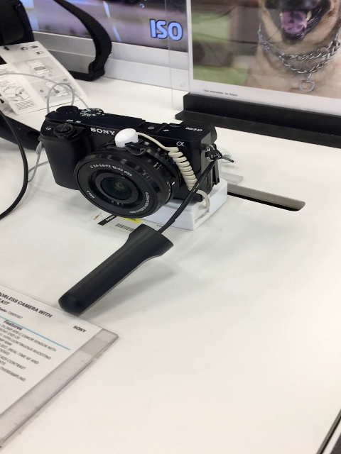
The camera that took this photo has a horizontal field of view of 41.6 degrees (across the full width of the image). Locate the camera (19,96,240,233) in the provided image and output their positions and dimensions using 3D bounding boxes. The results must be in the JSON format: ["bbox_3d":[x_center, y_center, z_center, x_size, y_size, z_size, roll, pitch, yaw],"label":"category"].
[{"bbox_3d":[-0.029,-0.055,0.366,0.136,0.065,0.079,17,46,22],"label":"camera"}]
